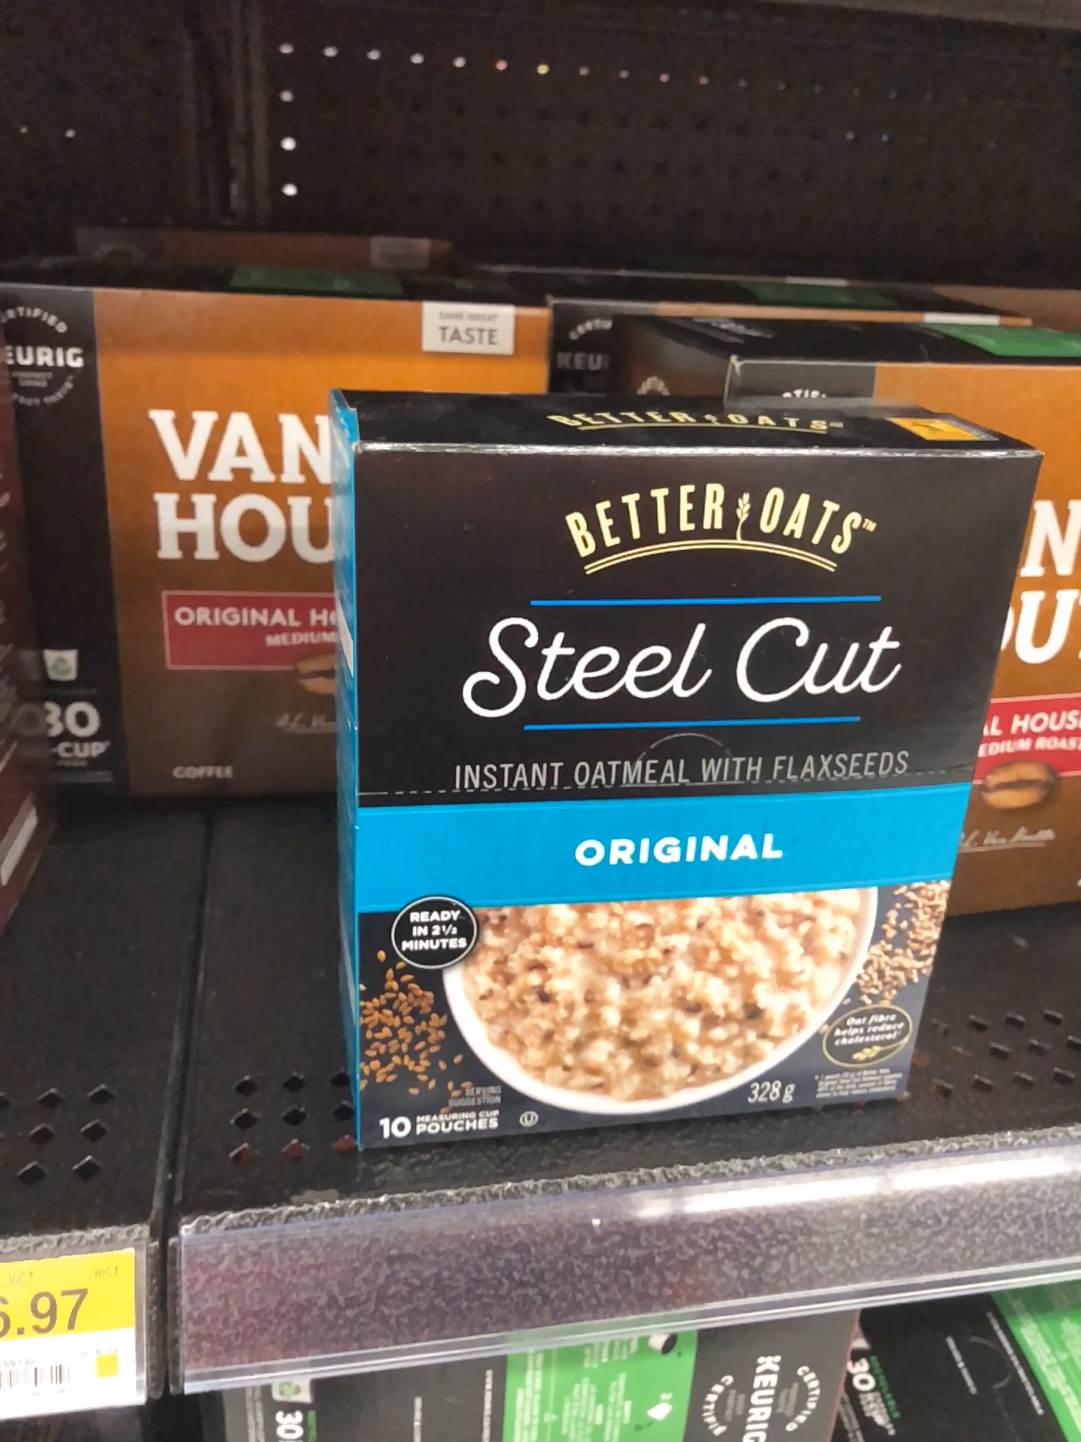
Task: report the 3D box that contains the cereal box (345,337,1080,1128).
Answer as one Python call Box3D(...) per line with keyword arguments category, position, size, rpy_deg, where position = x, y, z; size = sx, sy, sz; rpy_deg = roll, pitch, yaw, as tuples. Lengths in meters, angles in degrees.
Box3D(category="cereal box", position=(0.029, 0.005, 0.304), size=(0.150, 0.179, 0.060), rpy_deg=(-1, 26, -13))
